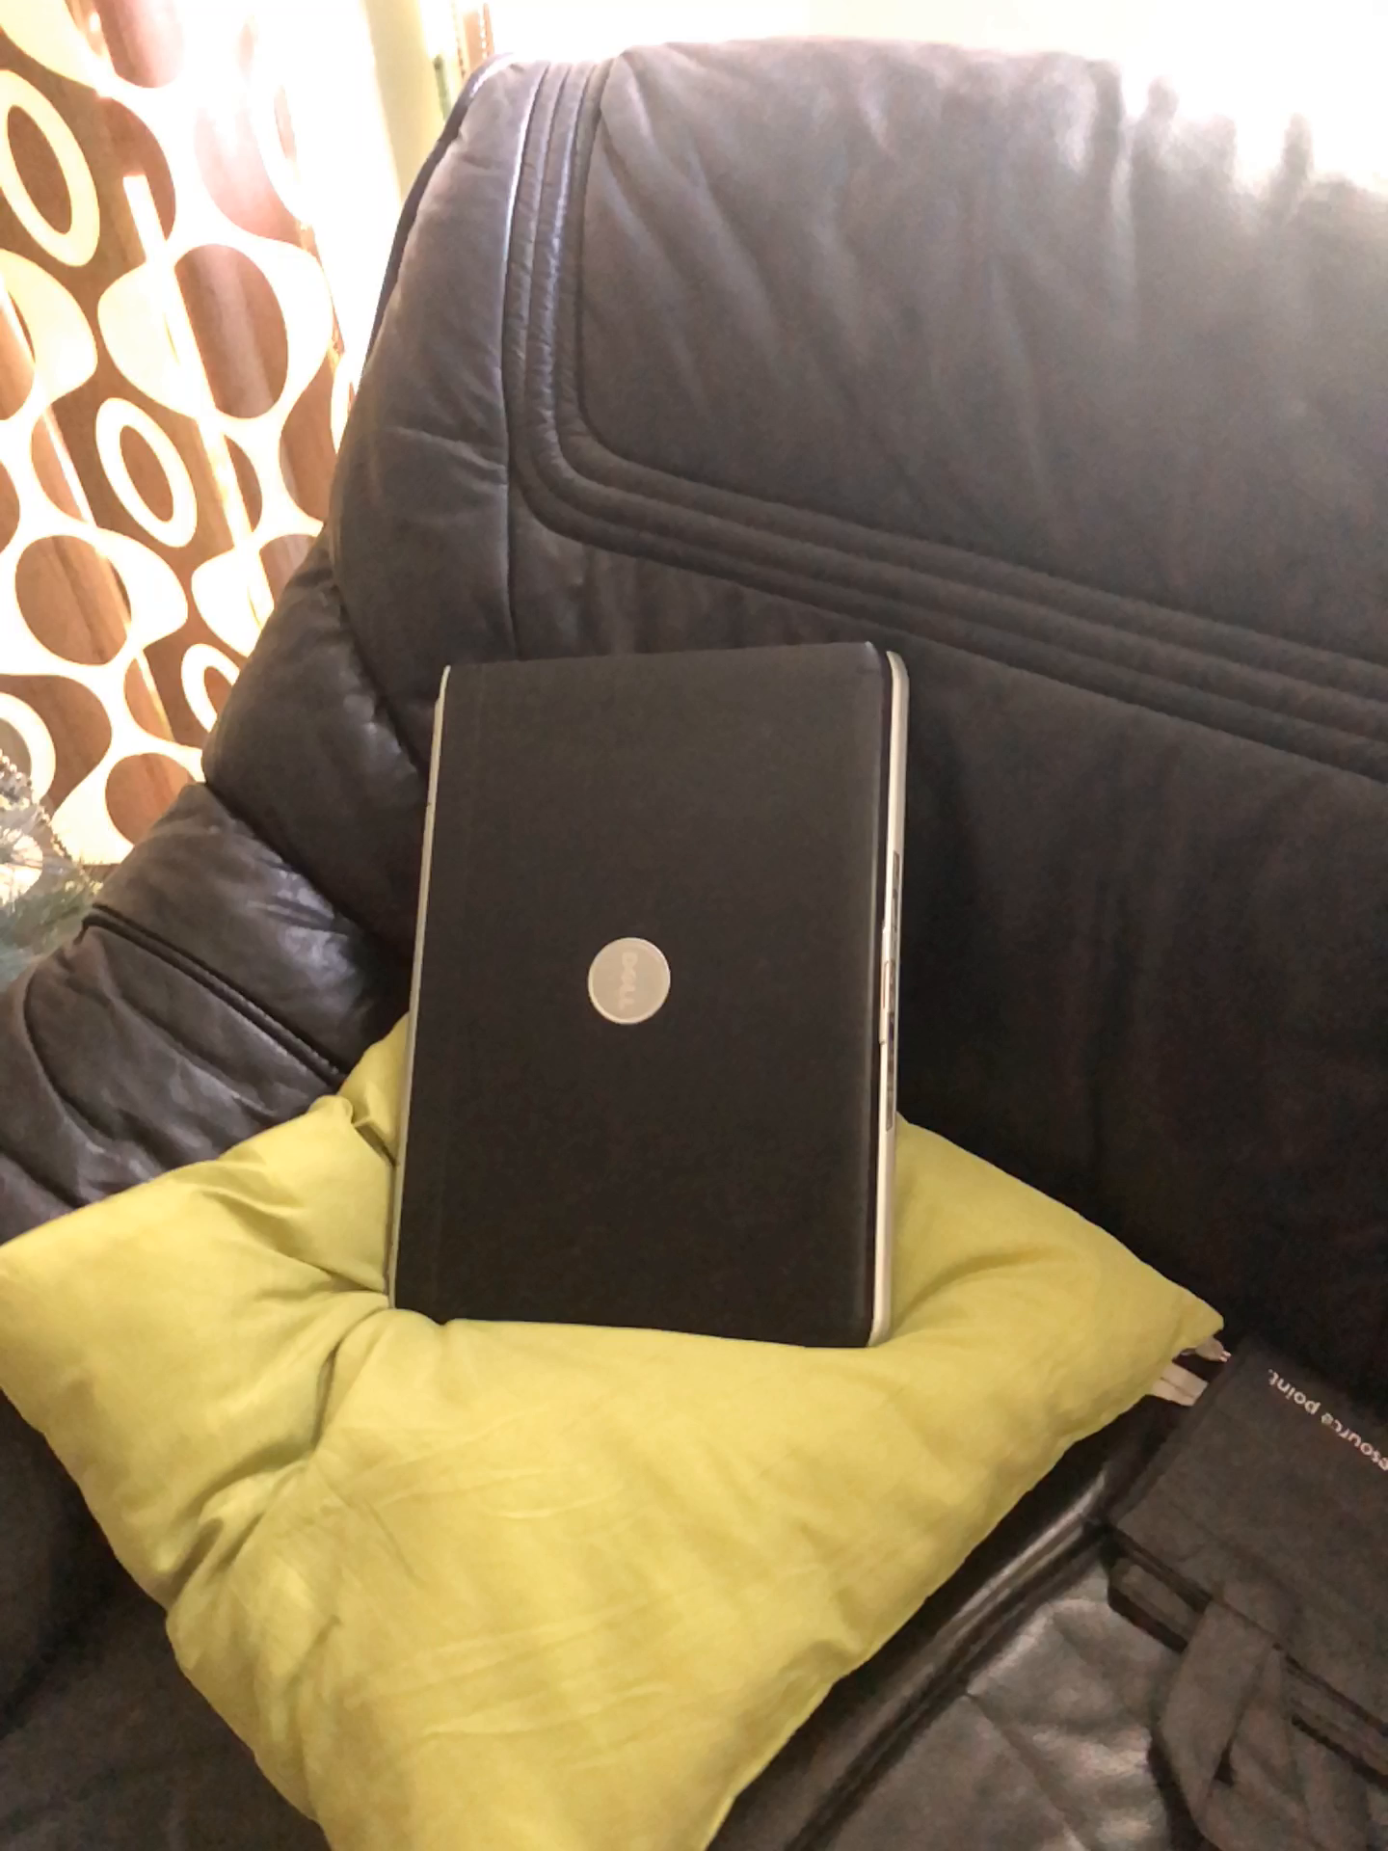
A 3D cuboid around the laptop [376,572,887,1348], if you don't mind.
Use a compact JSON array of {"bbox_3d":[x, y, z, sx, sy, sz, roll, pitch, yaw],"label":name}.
[{"bbox_3d":[-0.031,0.012,0.766,0.247,0.033,0.345,0,79,18],"label":"laptop"}]
